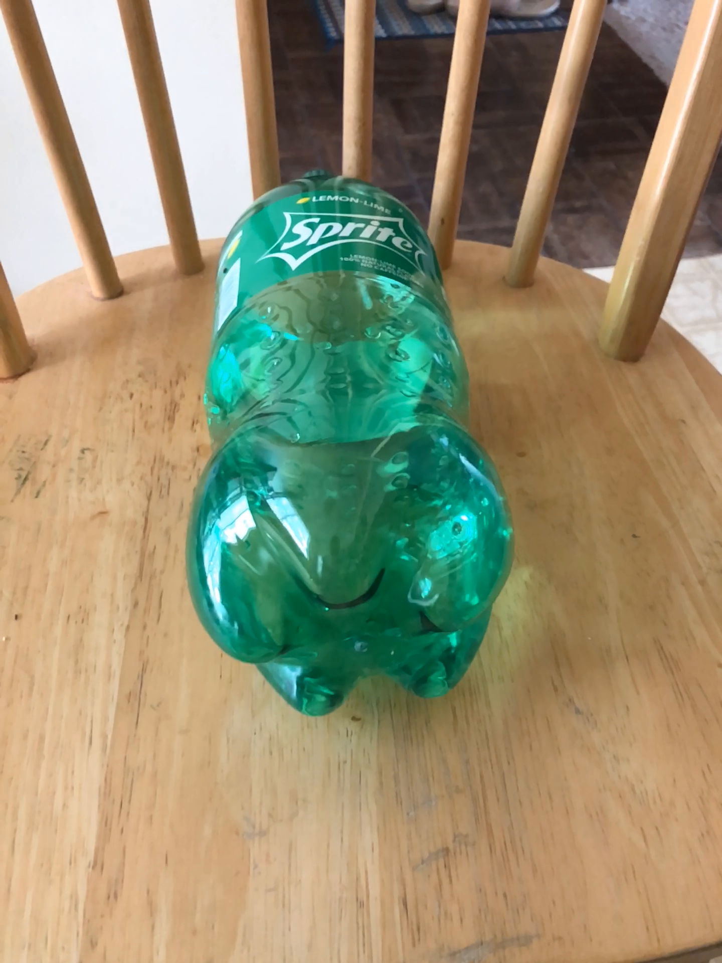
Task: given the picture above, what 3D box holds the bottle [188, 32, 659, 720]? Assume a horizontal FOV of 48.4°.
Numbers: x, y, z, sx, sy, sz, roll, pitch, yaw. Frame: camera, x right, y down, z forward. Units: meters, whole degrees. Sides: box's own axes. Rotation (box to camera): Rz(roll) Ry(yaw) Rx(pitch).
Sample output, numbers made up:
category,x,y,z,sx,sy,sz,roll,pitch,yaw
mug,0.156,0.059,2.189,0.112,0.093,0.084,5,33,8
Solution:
category,x,y,z,sx,sy,sz,roll,pitch,yaw
bottle,-0.004,-0.068,0.331,0.110,0.110,0.300,4,45,-12
